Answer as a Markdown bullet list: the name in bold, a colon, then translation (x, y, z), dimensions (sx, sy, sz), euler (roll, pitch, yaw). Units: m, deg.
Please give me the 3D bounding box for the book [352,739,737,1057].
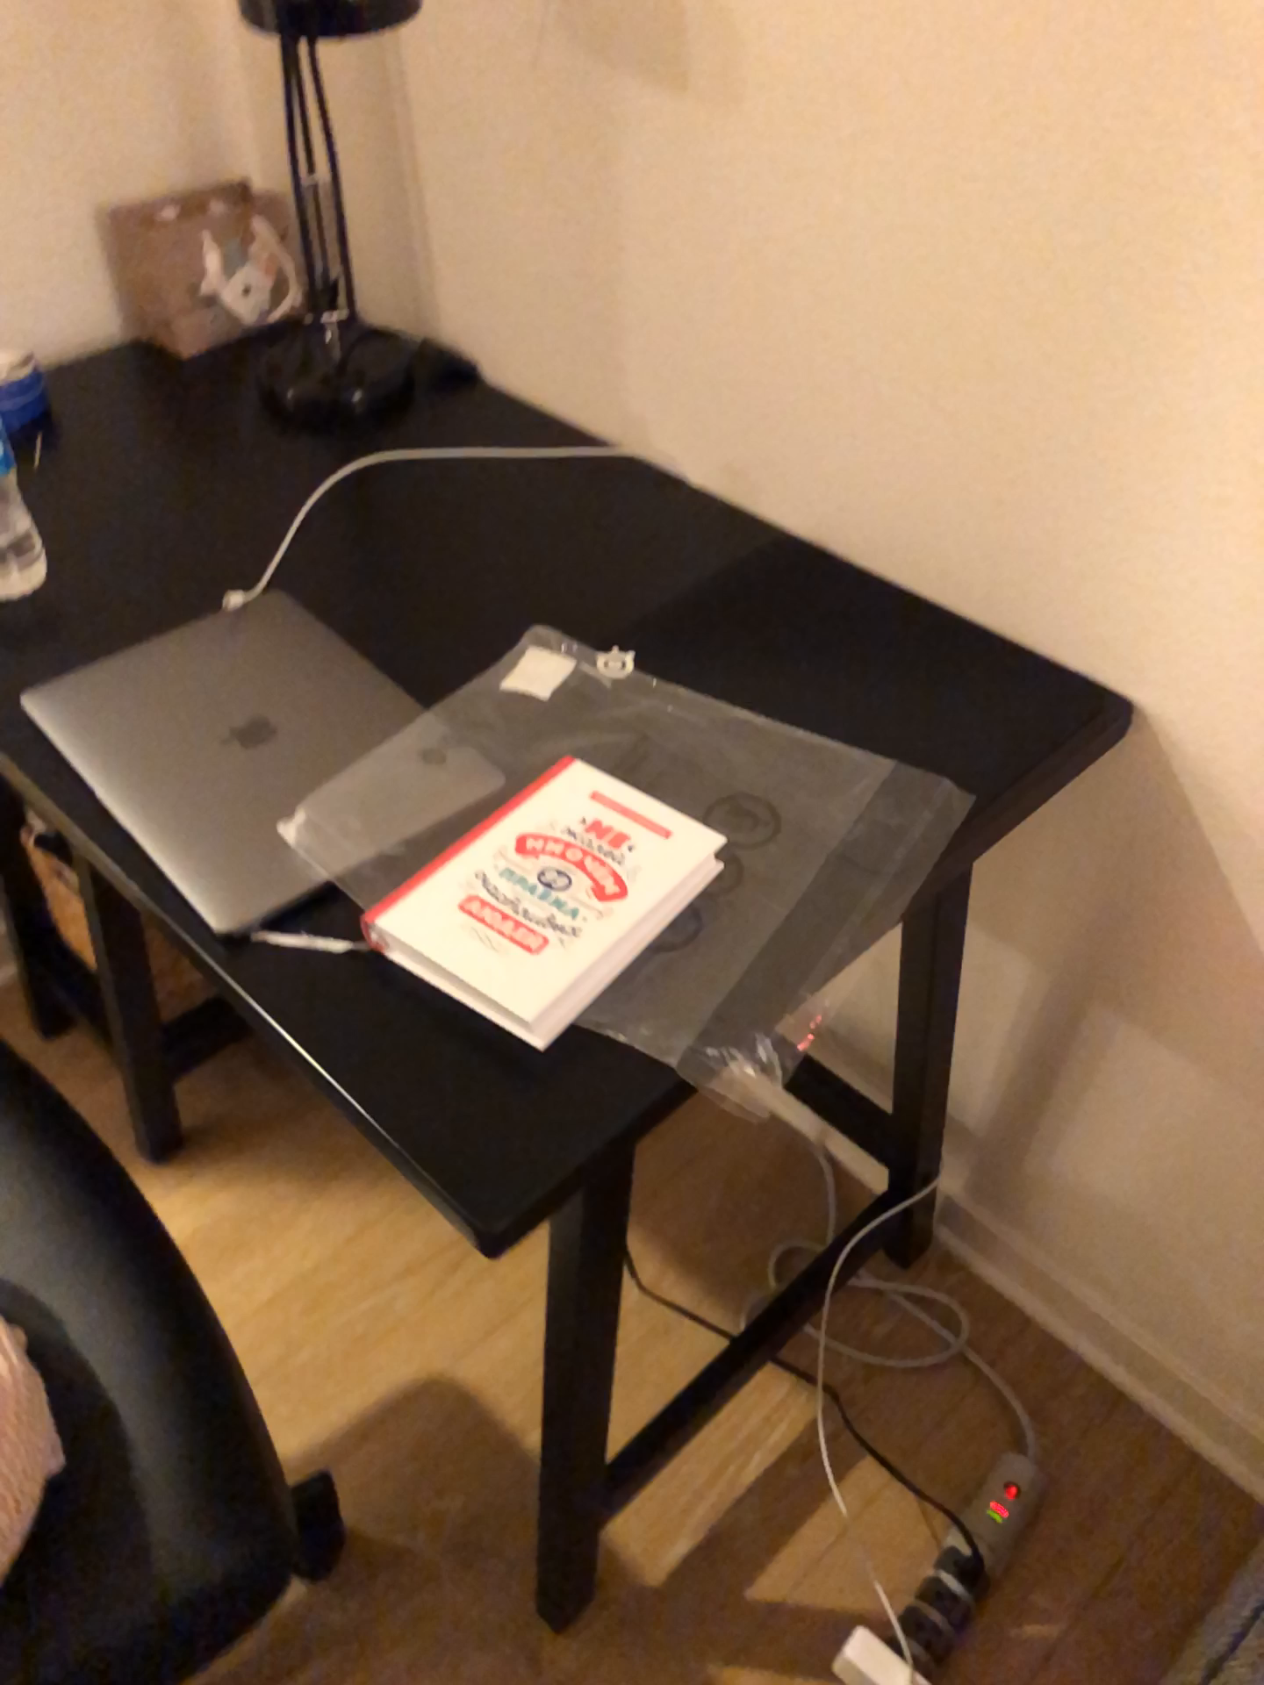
- **book**: translation (-0.049, 0.025, 0.839), dimensions (0.140, 0.030, 0.191), euler (27, 50, 26)
